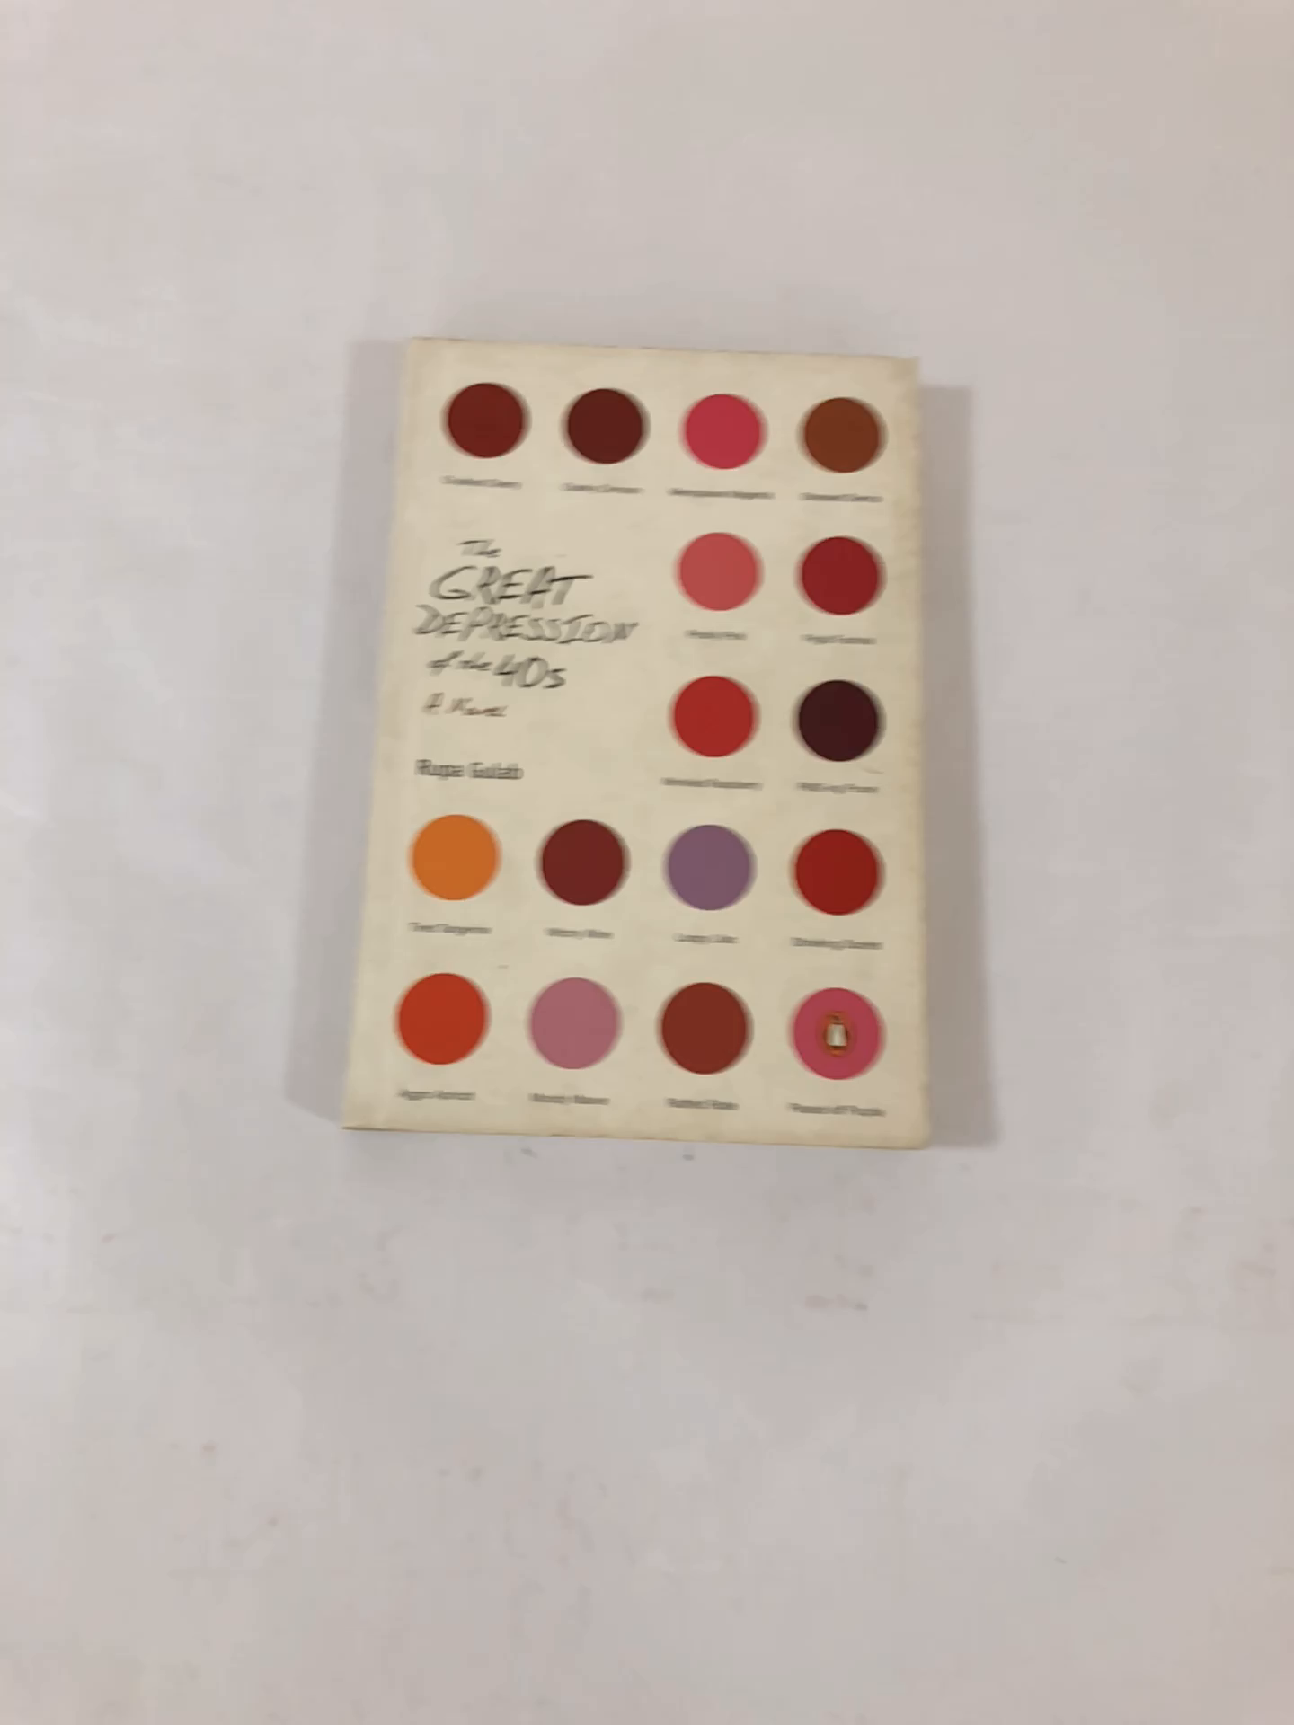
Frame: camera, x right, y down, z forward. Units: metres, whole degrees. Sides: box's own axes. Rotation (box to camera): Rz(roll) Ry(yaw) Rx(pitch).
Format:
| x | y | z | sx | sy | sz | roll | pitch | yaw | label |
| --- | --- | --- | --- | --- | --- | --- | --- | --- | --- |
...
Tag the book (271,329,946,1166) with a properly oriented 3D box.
| x | y | z | sx | sy | sz | roll | pitch | yaw | label |
| --- | --- | --- | --- | --- | --- | --- | --- | --- | --- |
| -0.005 | -0.029 | 0.336 | 0.140 | 0.030 | 0.190 | 2 | 76 | 0 | book |
